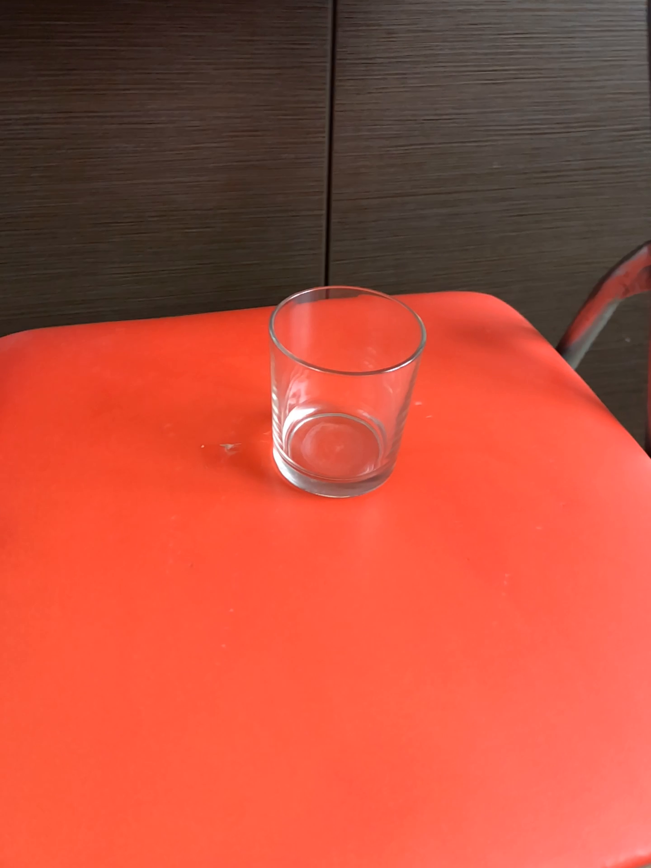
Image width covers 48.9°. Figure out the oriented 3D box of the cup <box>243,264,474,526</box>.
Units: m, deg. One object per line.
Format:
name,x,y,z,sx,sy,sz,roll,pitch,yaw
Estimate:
cup,0.015,-0.022,0.362,0.080,0.082,0.078,3,40,-2
